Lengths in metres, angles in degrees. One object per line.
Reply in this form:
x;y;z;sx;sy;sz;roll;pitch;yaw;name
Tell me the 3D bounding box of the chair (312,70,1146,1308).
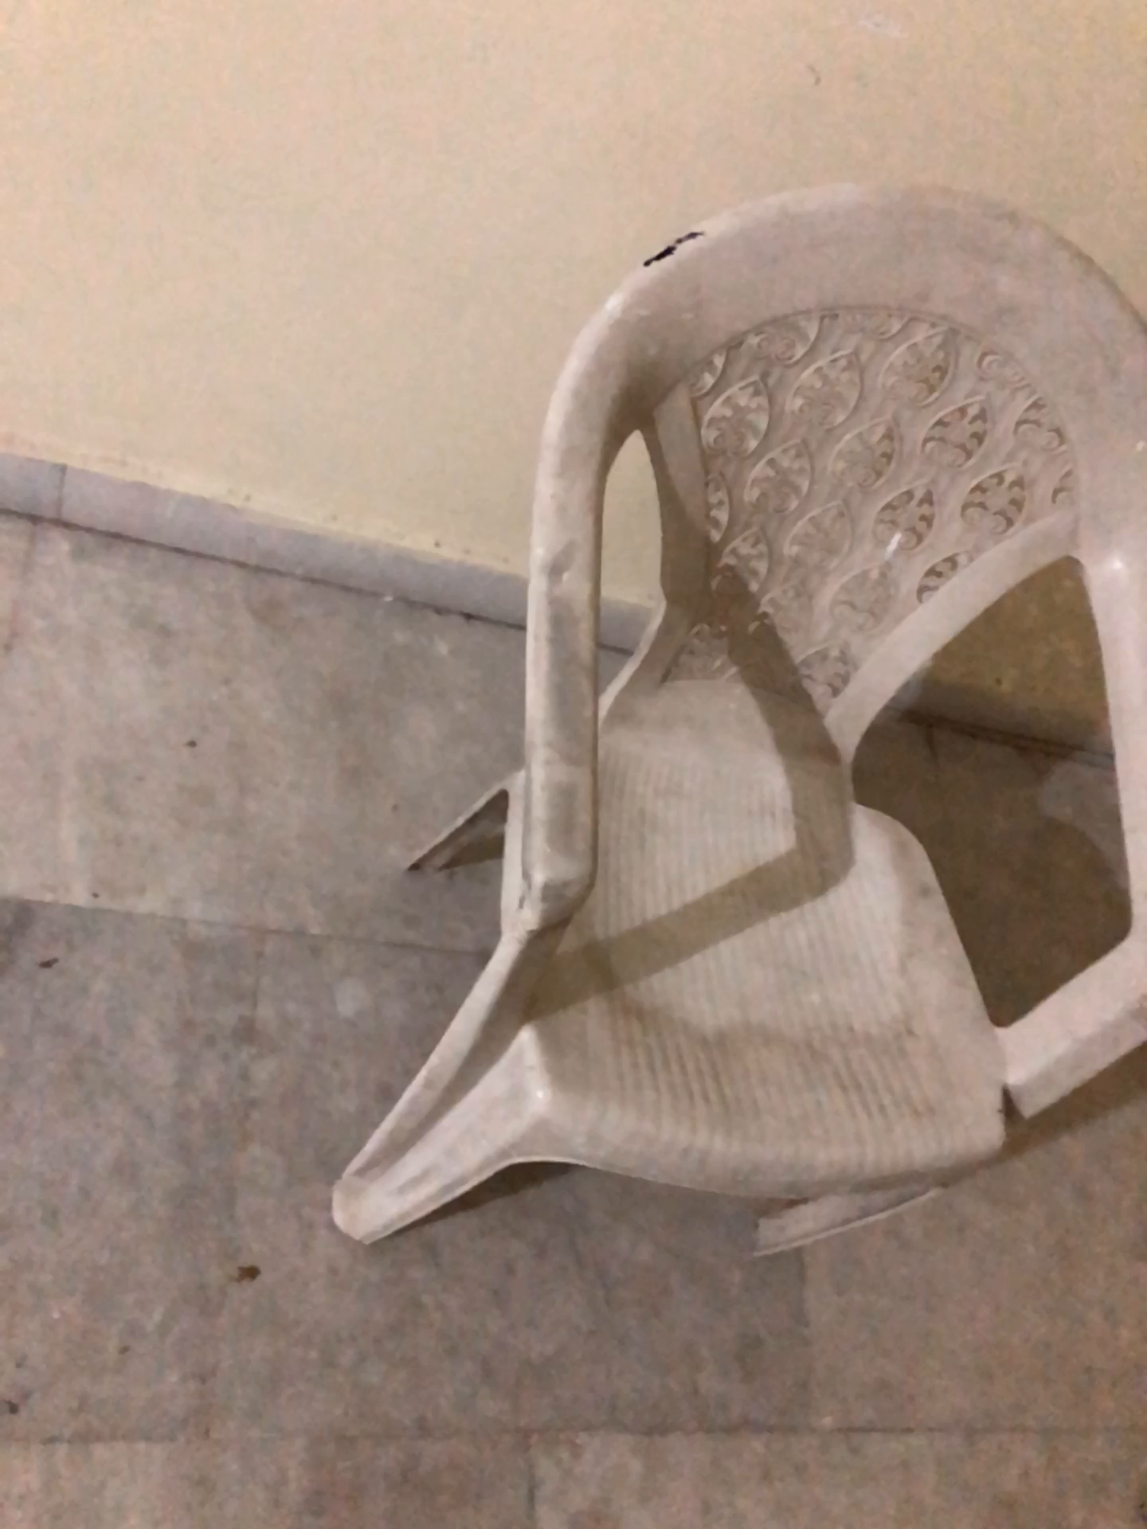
0.175;0.083;0.989;0.532;0.834;0.512;11;57;-20;chair
